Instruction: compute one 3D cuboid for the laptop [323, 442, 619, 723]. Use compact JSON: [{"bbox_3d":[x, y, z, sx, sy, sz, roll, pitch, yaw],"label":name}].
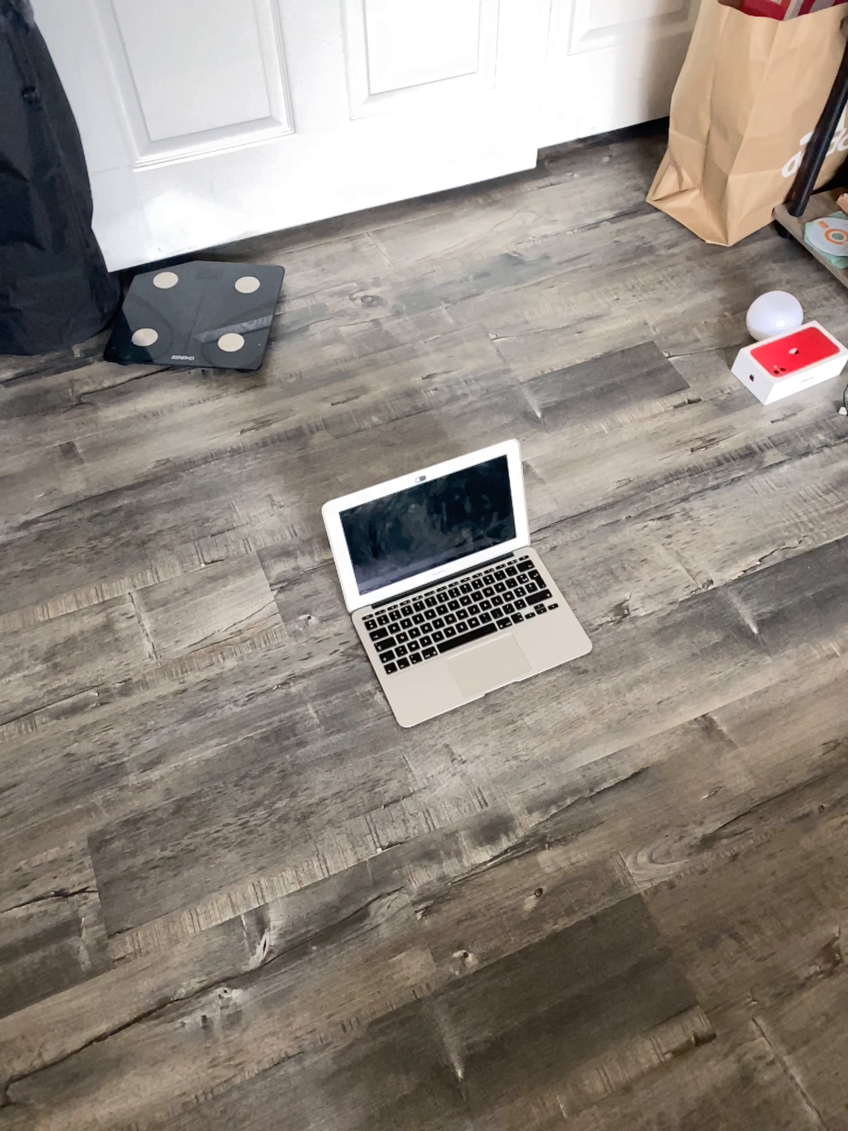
[{"bbox_3d":[0.053,0.016,1.152,0.290,0.159,0.255,-20,56,-14],"label":"laptop"}]
